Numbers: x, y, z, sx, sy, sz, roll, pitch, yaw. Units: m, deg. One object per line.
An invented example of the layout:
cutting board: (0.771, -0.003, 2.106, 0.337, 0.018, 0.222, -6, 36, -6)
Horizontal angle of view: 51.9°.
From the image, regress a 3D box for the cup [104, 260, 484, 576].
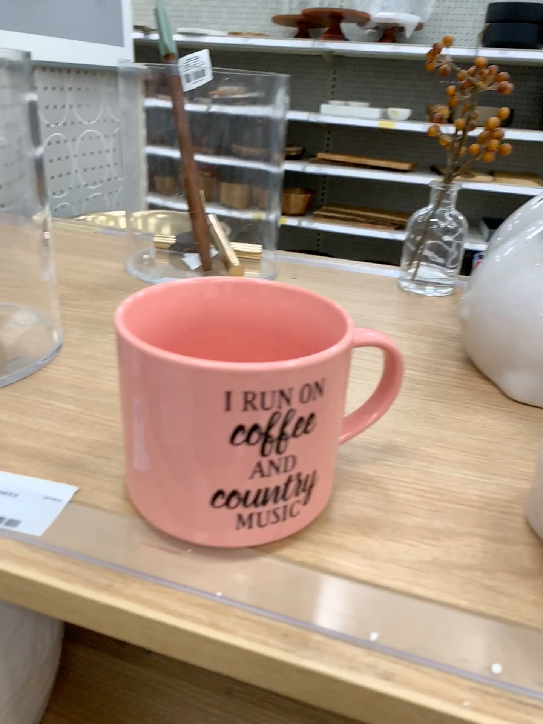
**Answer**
cup: (-0.001, 0.013, 0.253, 0.133, 0.085, 0.104, -5, 27, -17)
